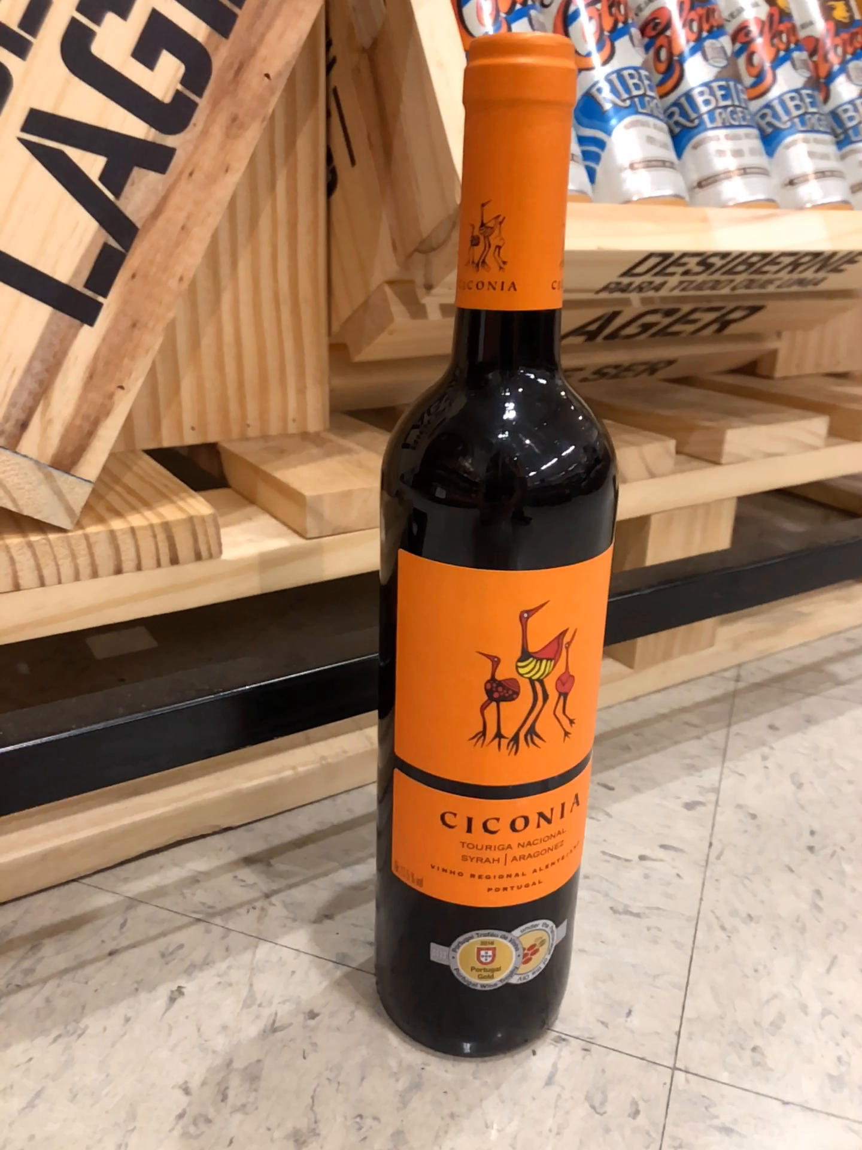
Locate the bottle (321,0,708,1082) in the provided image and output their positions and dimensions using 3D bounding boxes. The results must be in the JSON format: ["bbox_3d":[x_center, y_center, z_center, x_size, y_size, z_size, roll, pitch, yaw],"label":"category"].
[{"bbox_3d":[0.012,0.004,0.305,0.080,0.318,0.070,-4,22,-16],"label":"bottle"}]
